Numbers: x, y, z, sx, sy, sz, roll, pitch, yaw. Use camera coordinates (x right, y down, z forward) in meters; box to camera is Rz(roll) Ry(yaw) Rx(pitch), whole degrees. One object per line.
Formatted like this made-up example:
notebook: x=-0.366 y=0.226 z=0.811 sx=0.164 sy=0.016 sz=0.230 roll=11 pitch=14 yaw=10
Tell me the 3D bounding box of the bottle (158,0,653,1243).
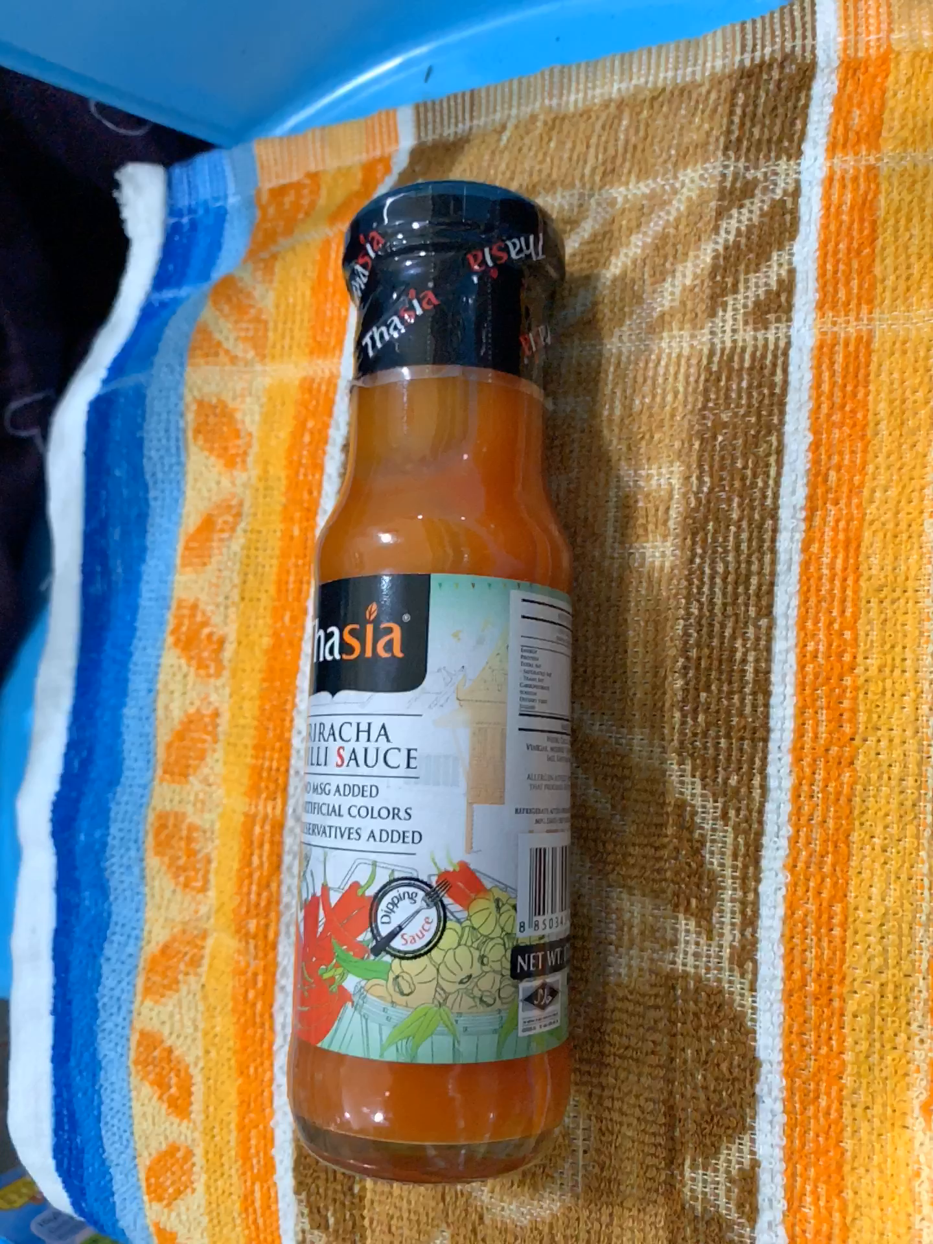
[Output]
bottle: x=-0.006 y=-0.003 z=0.169 sx=0.050 sy=0.050 sz=0.180 roll=-5 pitch=76 yaw=40
